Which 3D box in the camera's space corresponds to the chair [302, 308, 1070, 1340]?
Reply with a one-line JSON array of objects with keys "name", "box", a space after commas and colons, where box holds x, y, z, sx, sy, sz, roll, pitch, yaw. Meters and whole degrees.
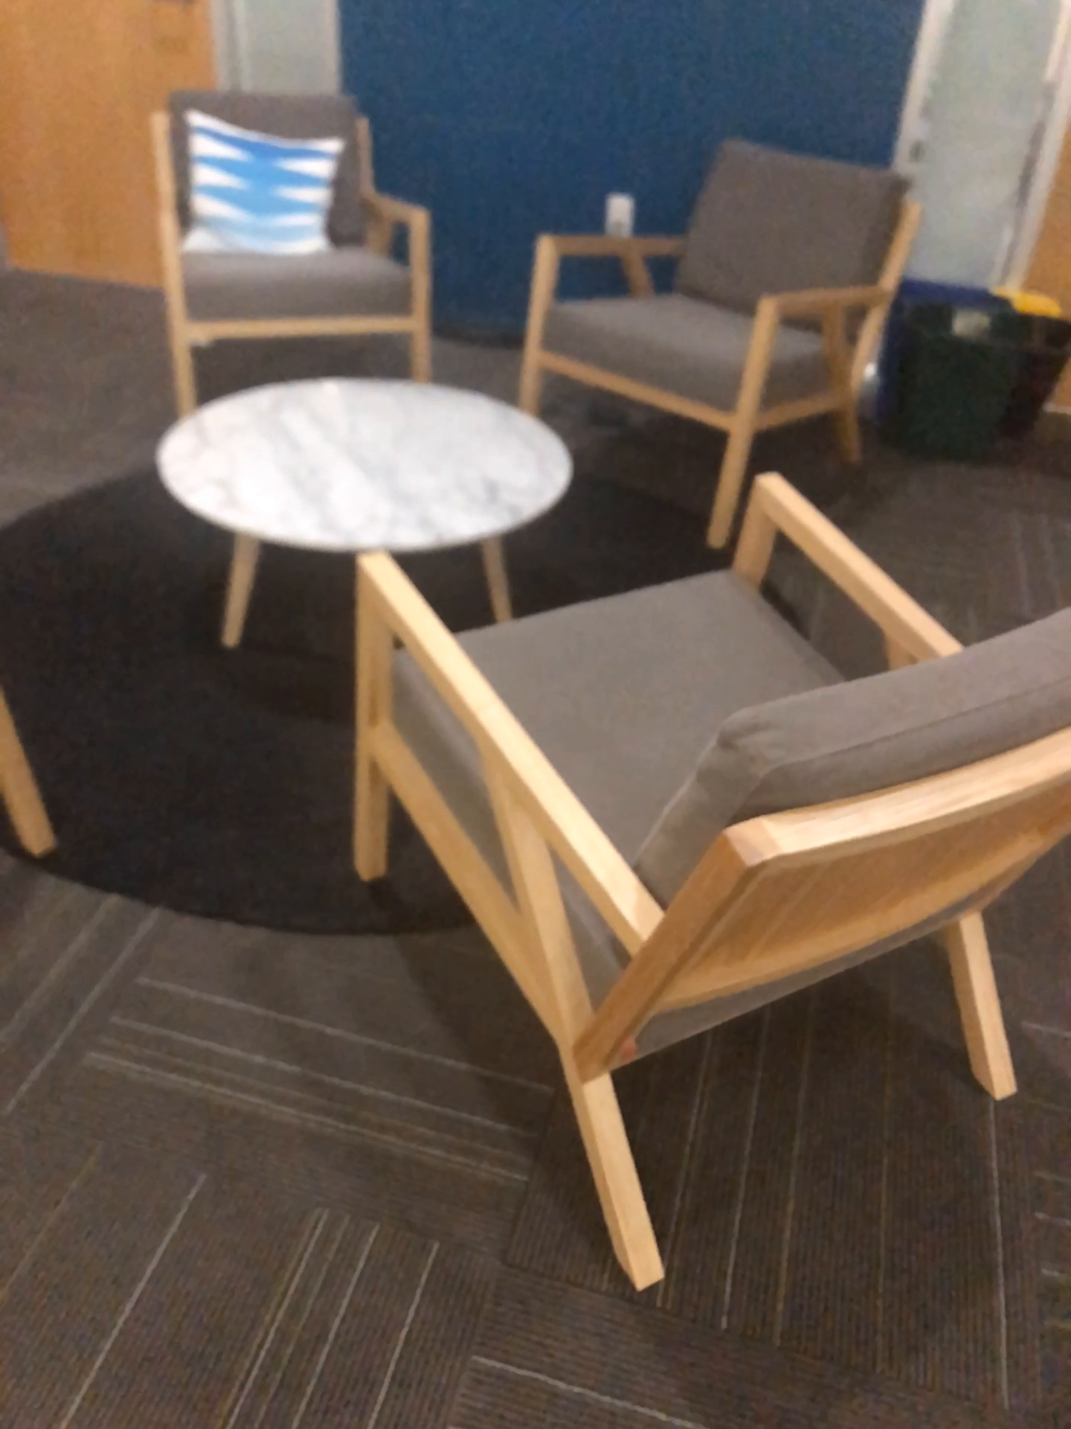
[{"name": "chair", "box": [0.213, 0.053, 1.524, 0.723, 0.753, 0.875, -16, 45, -26]}]

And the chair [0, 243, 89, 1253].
[{"name": "chair", "box": [-1.214, -0.036, 1.524, 0.721, 0.773, 0.807, 24, 43, 26]}]
